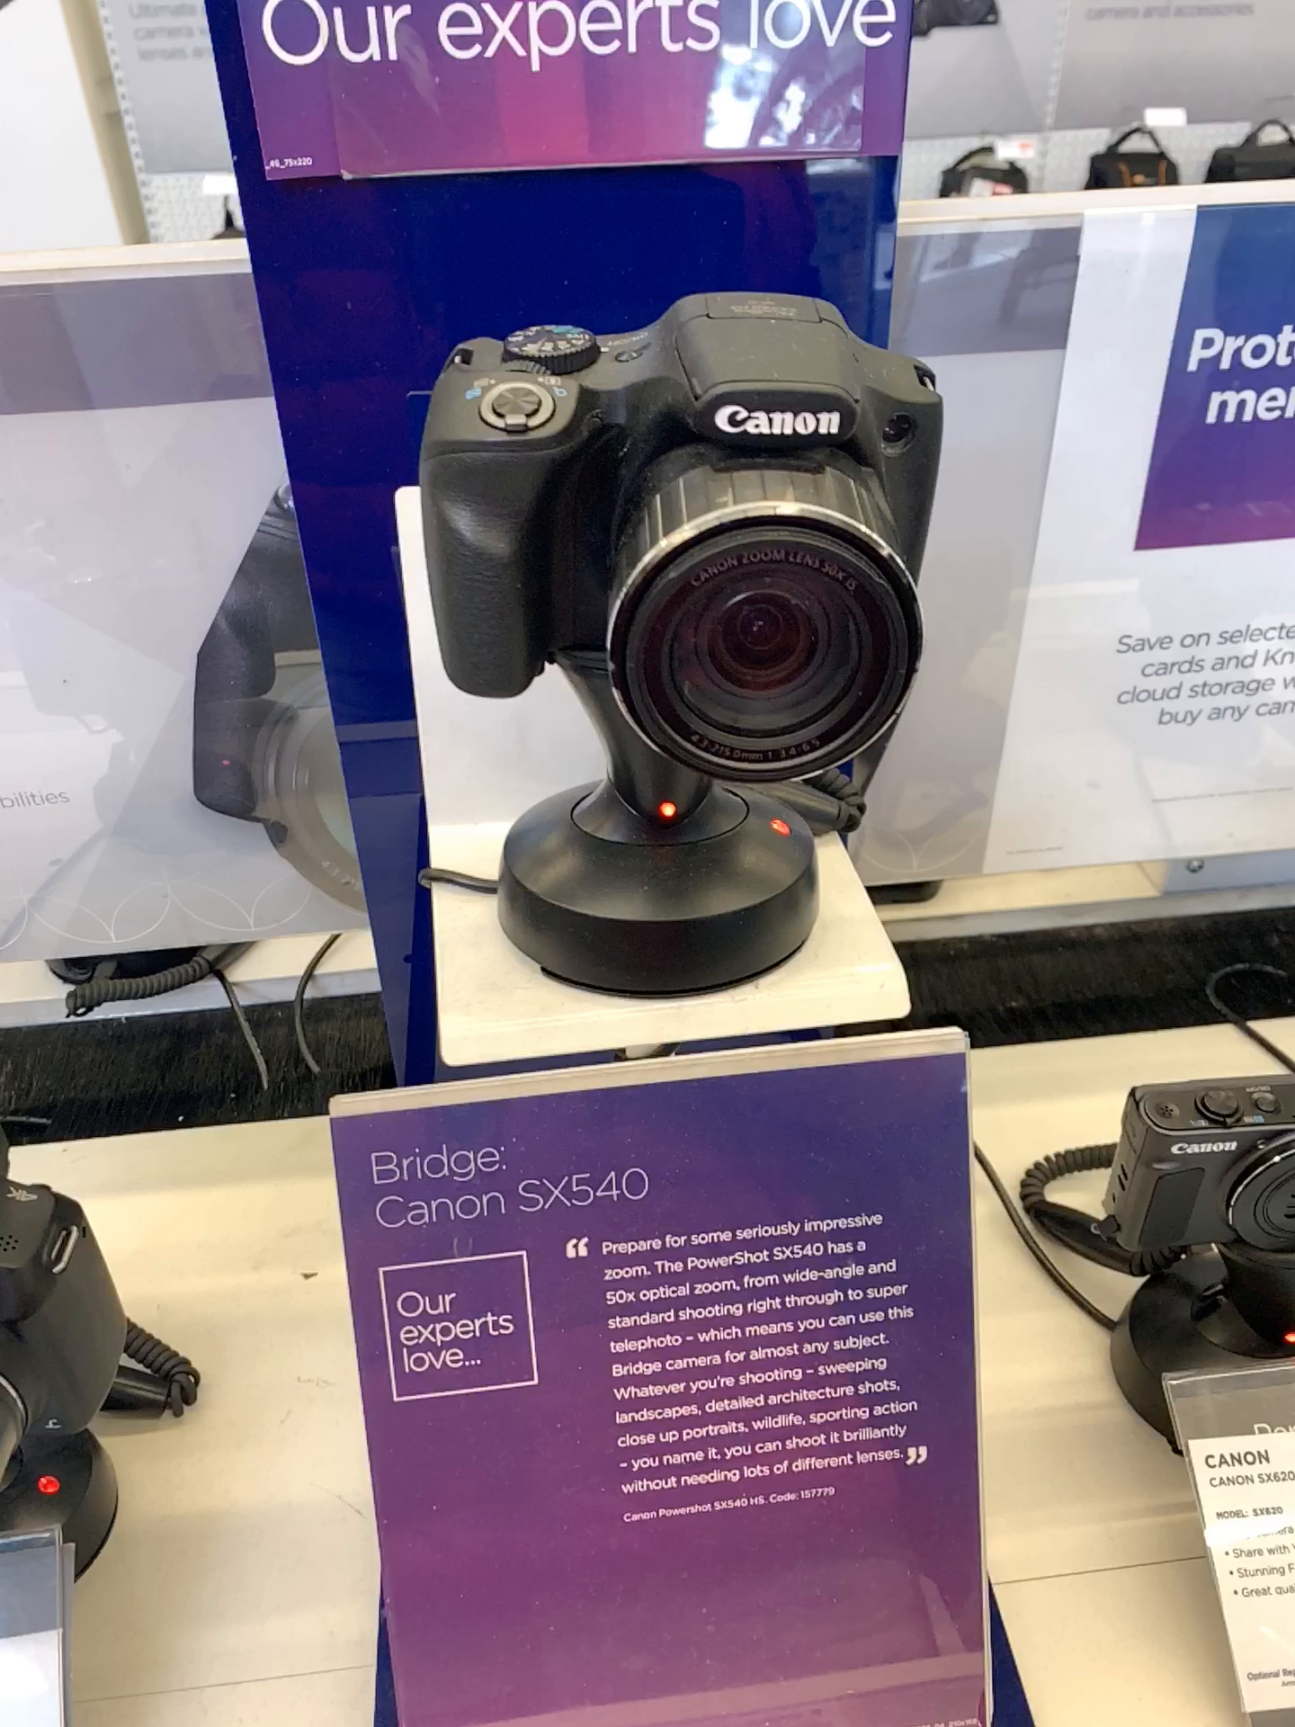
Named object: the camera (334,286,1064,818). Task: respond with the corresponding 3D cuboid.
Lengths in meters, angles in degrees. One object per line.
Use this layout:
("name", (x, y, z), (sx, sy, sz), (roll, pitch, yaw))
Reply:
("camera", (0.009, -0.071, 0.284), (0.120, 0.069, 0.111), (-1, 37, 1))
